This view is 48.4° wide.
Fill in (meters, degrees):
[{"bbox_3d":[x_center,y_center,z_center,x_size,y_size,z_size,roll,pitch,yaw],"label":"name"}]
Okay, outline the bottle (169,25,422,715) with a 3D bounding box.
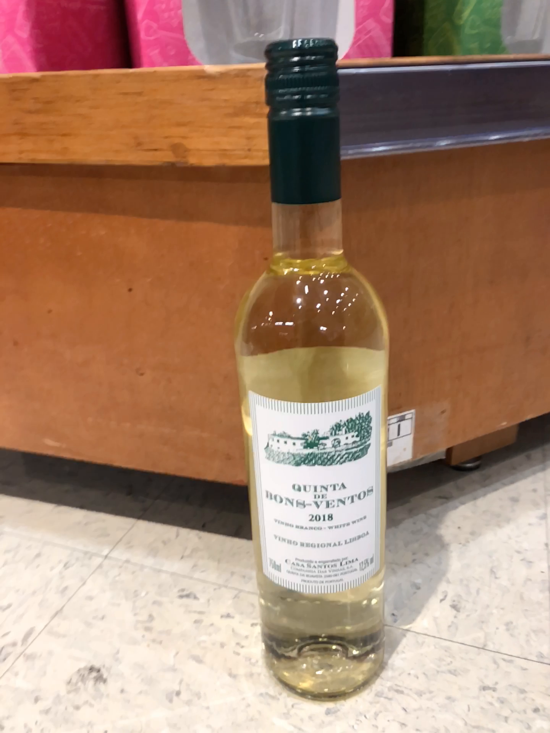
[{"bbox_3d":[0.014,0.019,0.291,0.080,0.308,0.081,-3,24,1],"label":"bottle"}]
